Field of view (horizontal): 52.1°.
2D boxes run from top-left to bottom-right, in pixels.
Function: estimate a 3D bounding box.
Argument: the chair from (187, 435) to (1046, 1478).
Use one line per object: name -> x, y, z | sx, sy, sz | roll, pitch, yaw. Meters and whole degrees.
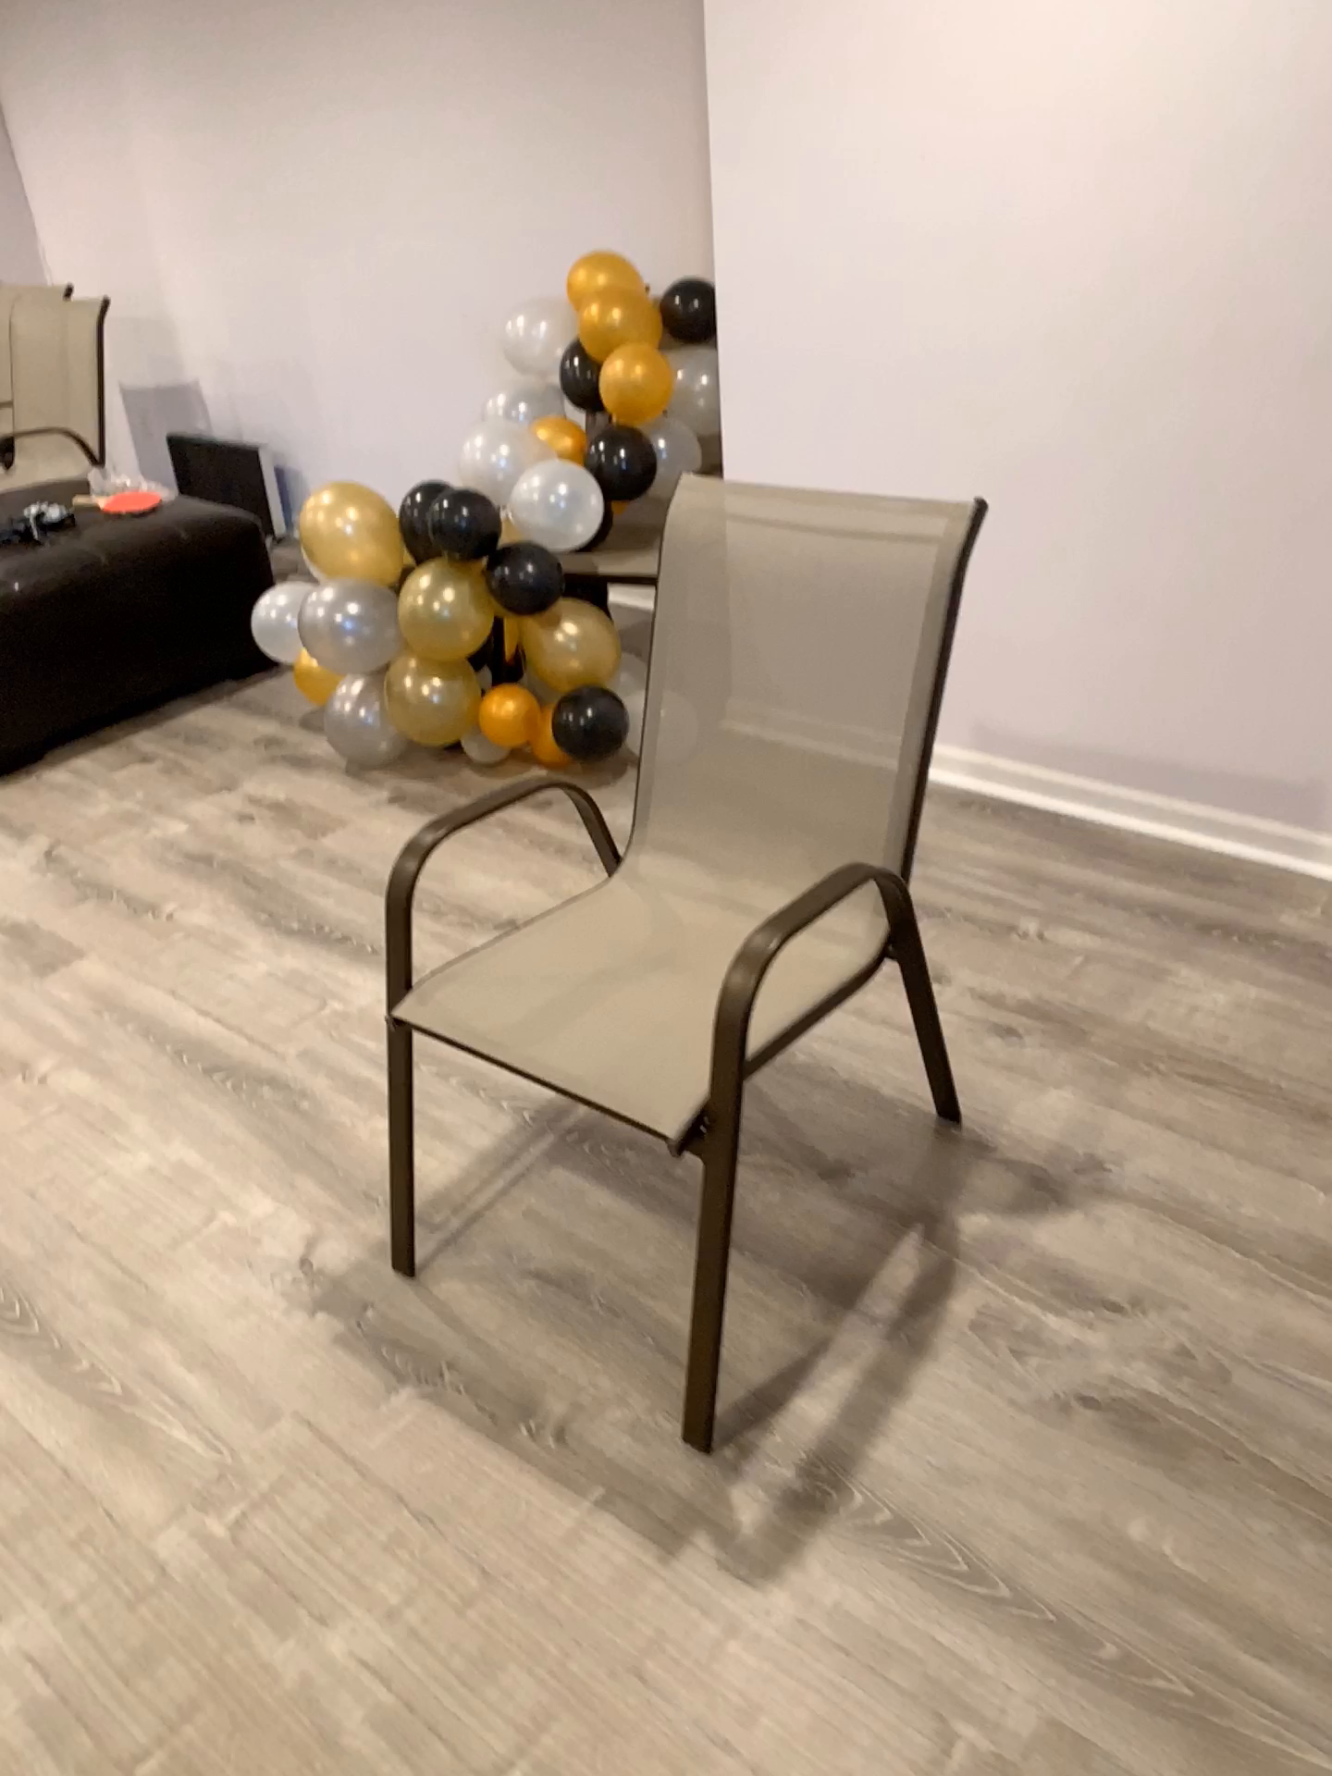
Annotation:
chair -> 0.006, 0.009, 1.610 | 0.565, 0.874, 0.718 | 17, 35, 33
